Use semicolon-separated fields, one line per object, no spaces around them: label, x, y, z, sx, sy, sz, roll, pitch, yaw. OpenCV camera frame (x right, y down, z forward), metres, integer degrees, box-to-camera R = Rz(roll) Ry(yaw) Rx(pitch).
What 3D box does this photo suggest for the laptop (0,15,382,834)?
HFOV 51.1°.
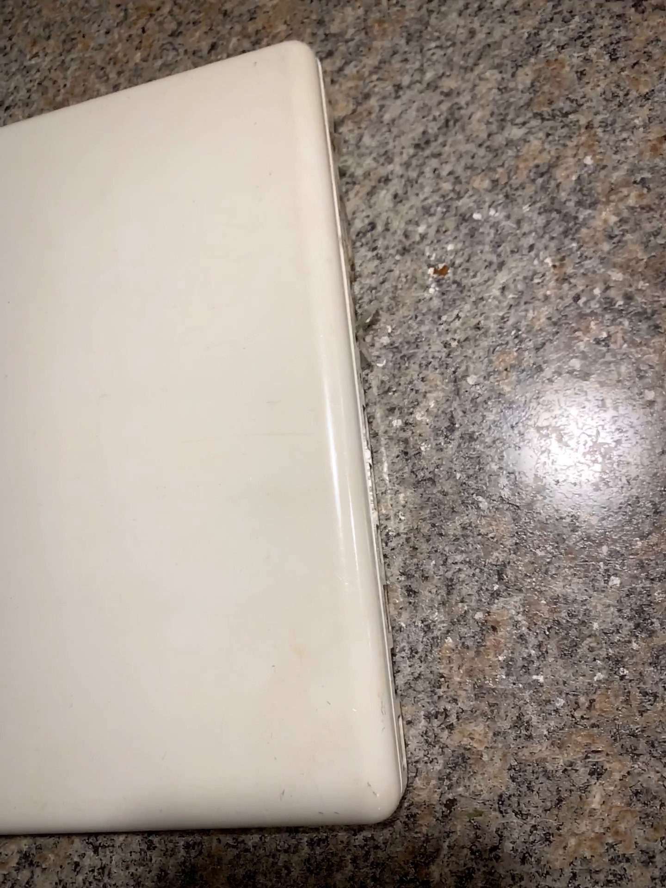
laptop;-0.145;0.005;0.212;0.305;0.002;0.205;-10;75;17
